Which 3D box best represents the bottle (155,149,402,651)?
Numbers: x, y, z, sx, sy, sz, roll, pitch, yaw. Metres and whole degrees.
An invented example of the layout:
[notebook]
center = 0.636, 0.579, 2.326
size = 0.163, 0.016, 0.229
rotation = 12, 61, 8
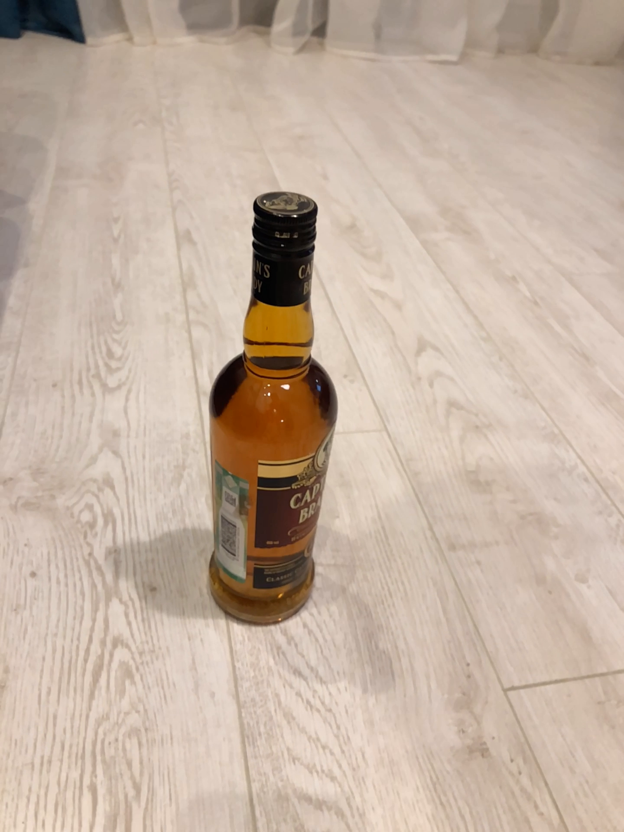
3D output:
[bottle]
center = -0.022, 0.006, 0.373
size = 0.080, 0.257, 0.081
rotation = 4, 38, -3
